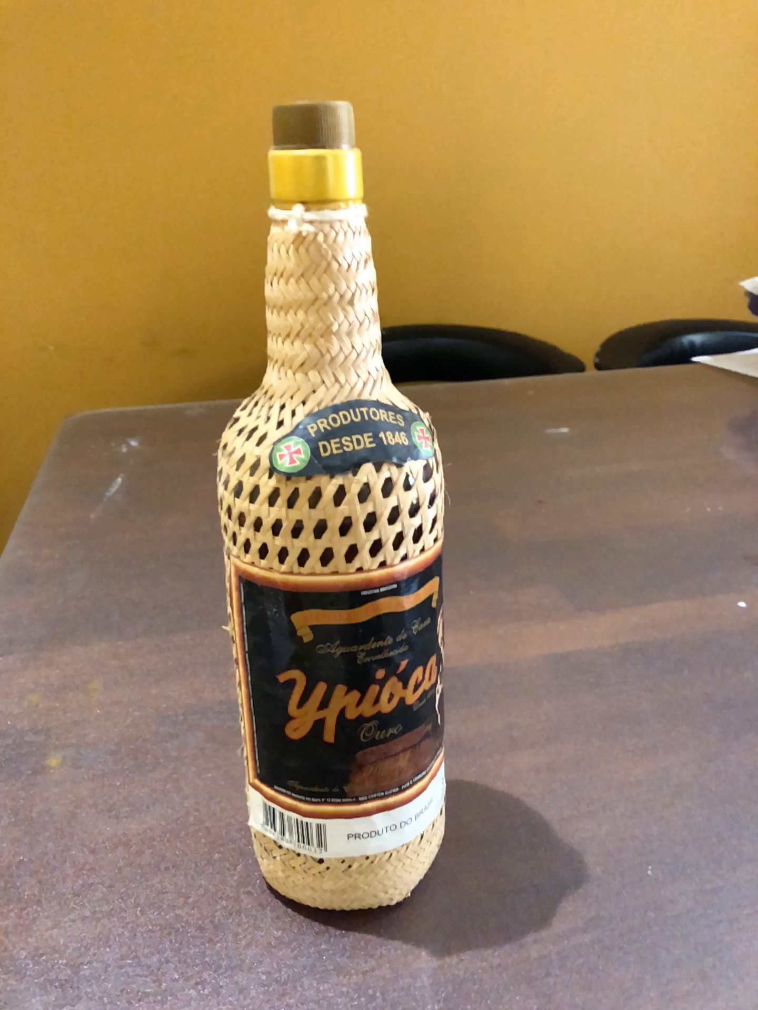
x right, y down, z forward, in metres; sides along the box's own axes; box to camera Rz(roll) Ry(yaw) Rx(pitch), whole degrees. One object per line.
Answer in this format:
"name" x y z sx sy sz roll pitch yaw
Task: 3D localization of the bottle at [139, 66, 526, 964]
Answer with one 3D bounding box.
"bottle" -0.015 0.011 0.344 0.100 0.328 0.090 -14 25 -29
